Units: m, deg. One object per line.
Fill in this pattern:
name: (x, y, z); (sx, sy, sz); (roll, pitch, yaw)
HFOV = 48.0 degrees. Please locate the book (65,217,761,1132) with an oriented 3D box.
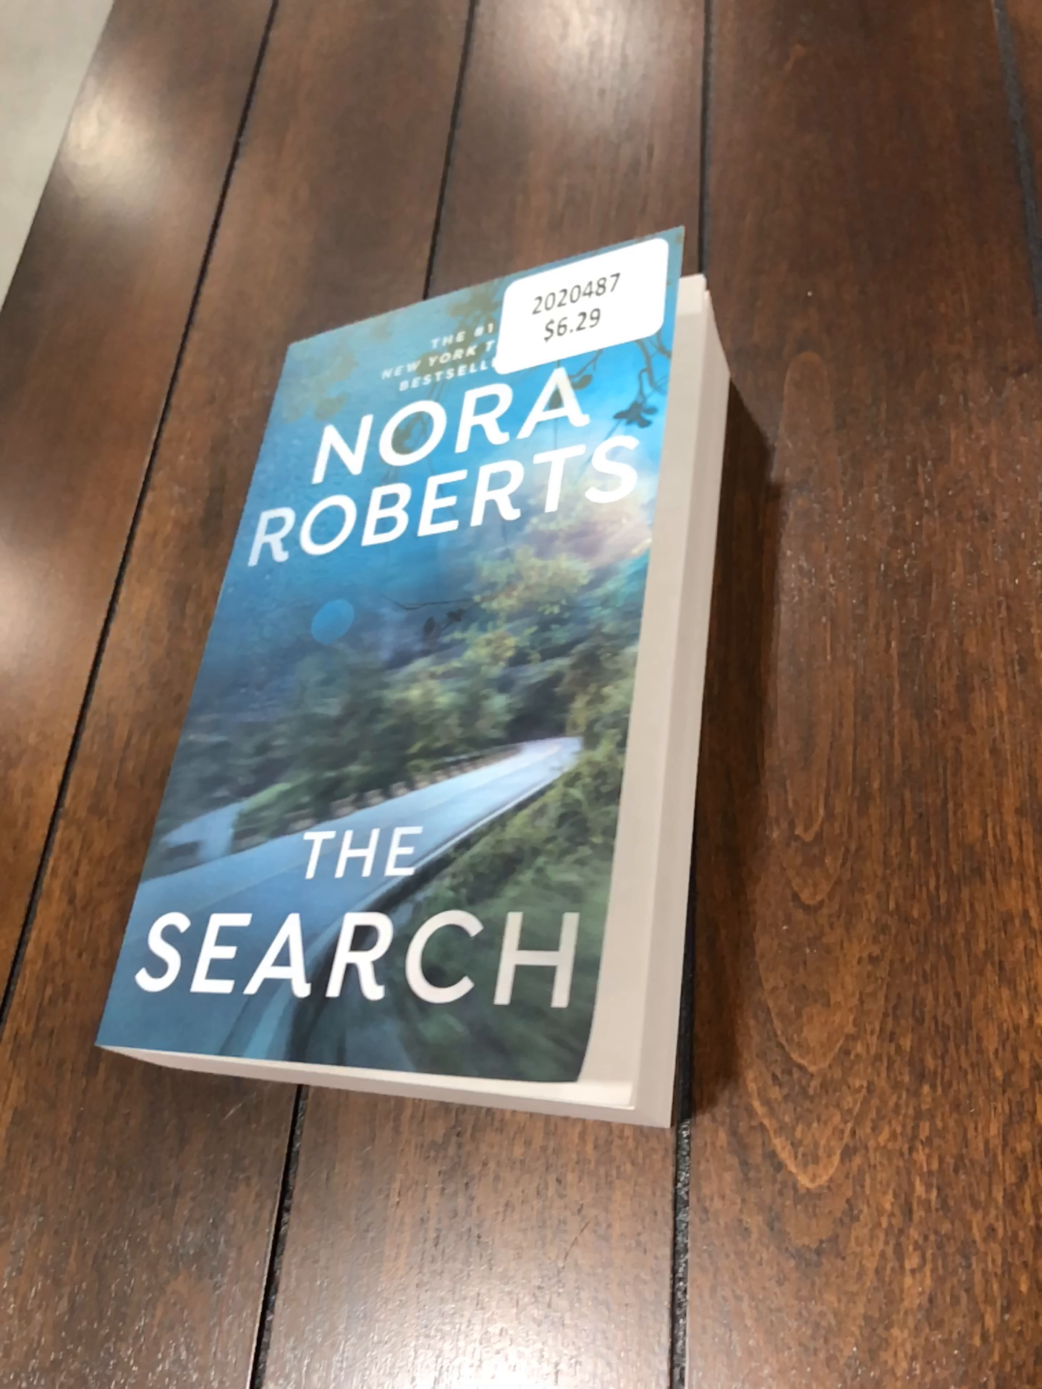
book: (-0.015, -0.006, 0.249); (0.108, 0.050, 0.170); (-5, 62, 29)
